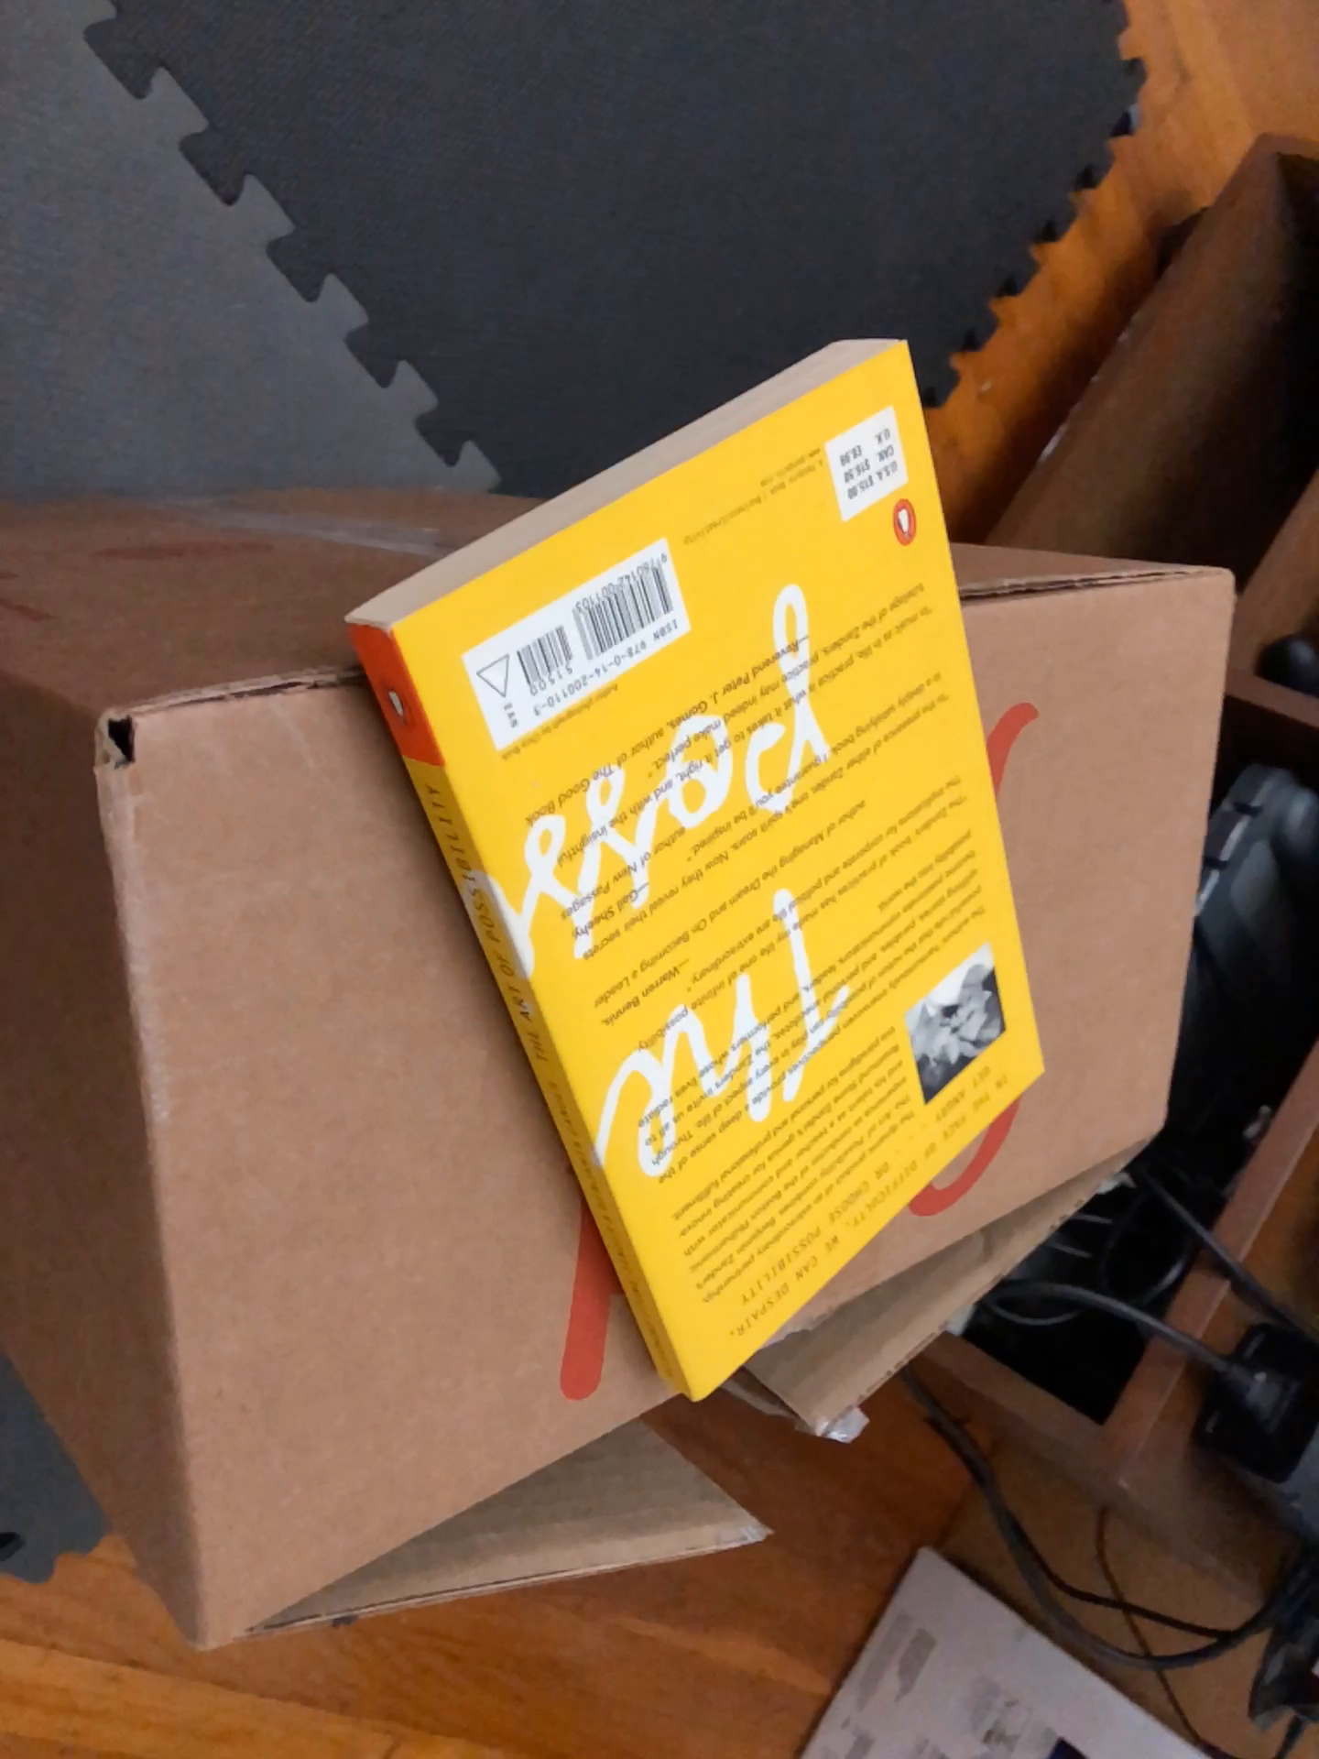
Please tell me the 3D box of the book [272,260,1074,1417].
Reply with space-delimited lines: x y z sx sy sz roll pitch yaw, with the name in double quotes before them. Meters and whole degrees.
"book" 0.025 -0.004 0.325 0.150 0.020 0.210 -36 124 -27
